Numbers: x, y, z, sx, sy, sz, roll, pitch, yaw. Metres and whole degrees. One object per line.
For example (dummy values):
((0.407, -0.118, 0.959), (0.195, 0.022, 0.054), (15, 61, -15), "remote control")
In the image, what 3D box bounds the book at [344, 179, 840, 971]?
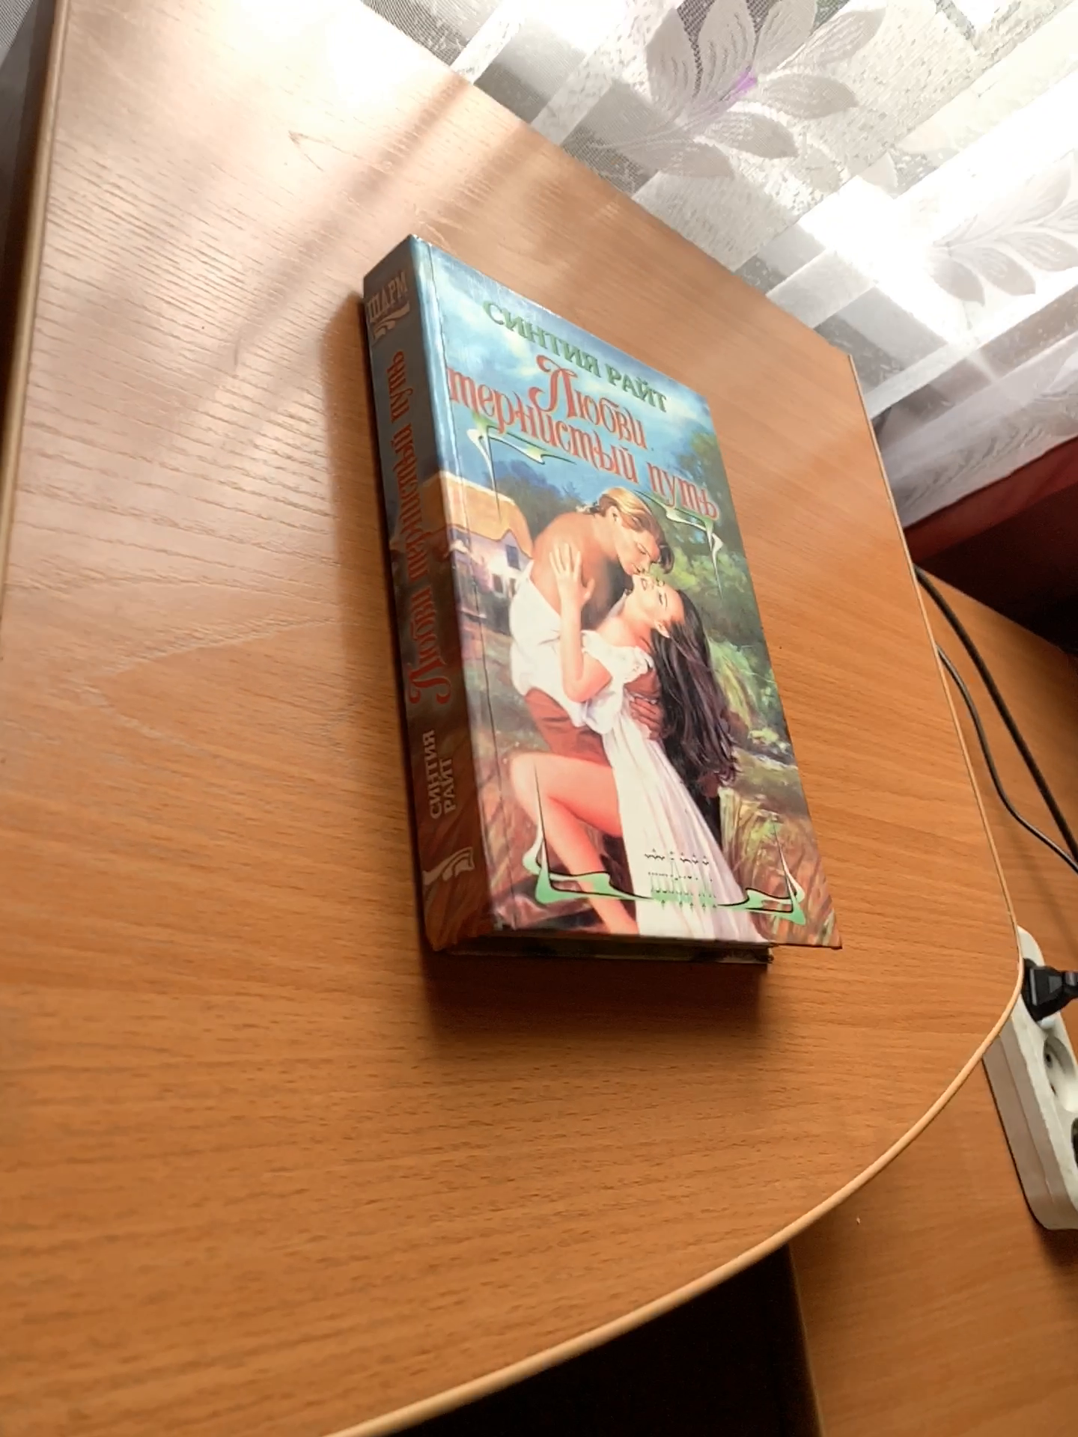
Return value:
((0.015, -0.037, 0.326), (0.141, 0.030, 0.211), (14, 60, -41), "book")
